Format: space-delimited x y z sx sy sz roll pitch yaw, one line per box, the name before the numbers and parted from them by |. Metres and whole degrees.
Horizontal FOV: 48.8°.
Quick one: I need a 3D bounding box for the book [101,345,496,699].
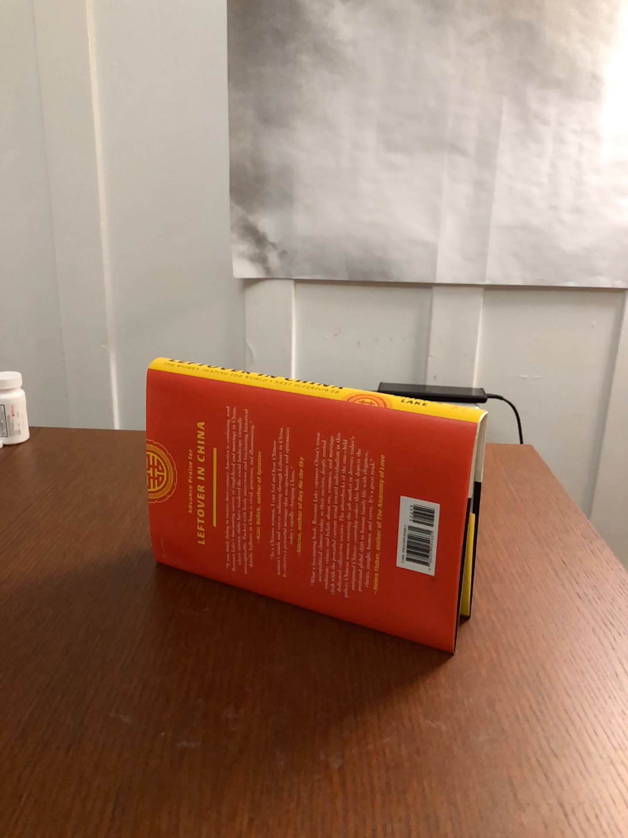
book | -0.021 0.058 0.480 0.260 0.179 0.060 10 20 24
